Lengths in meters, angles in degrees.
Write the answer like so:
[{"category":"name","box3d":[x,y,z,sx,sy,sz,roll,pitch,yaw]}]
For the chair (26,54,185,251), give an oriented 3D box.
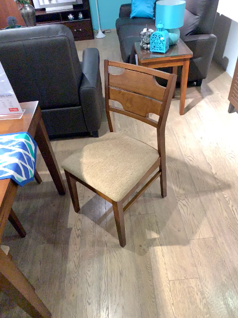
[{"category":"chair","box3d":[-0.017,-0.033,1.335,0.471,0.826,0.531,27,51,32]}]
